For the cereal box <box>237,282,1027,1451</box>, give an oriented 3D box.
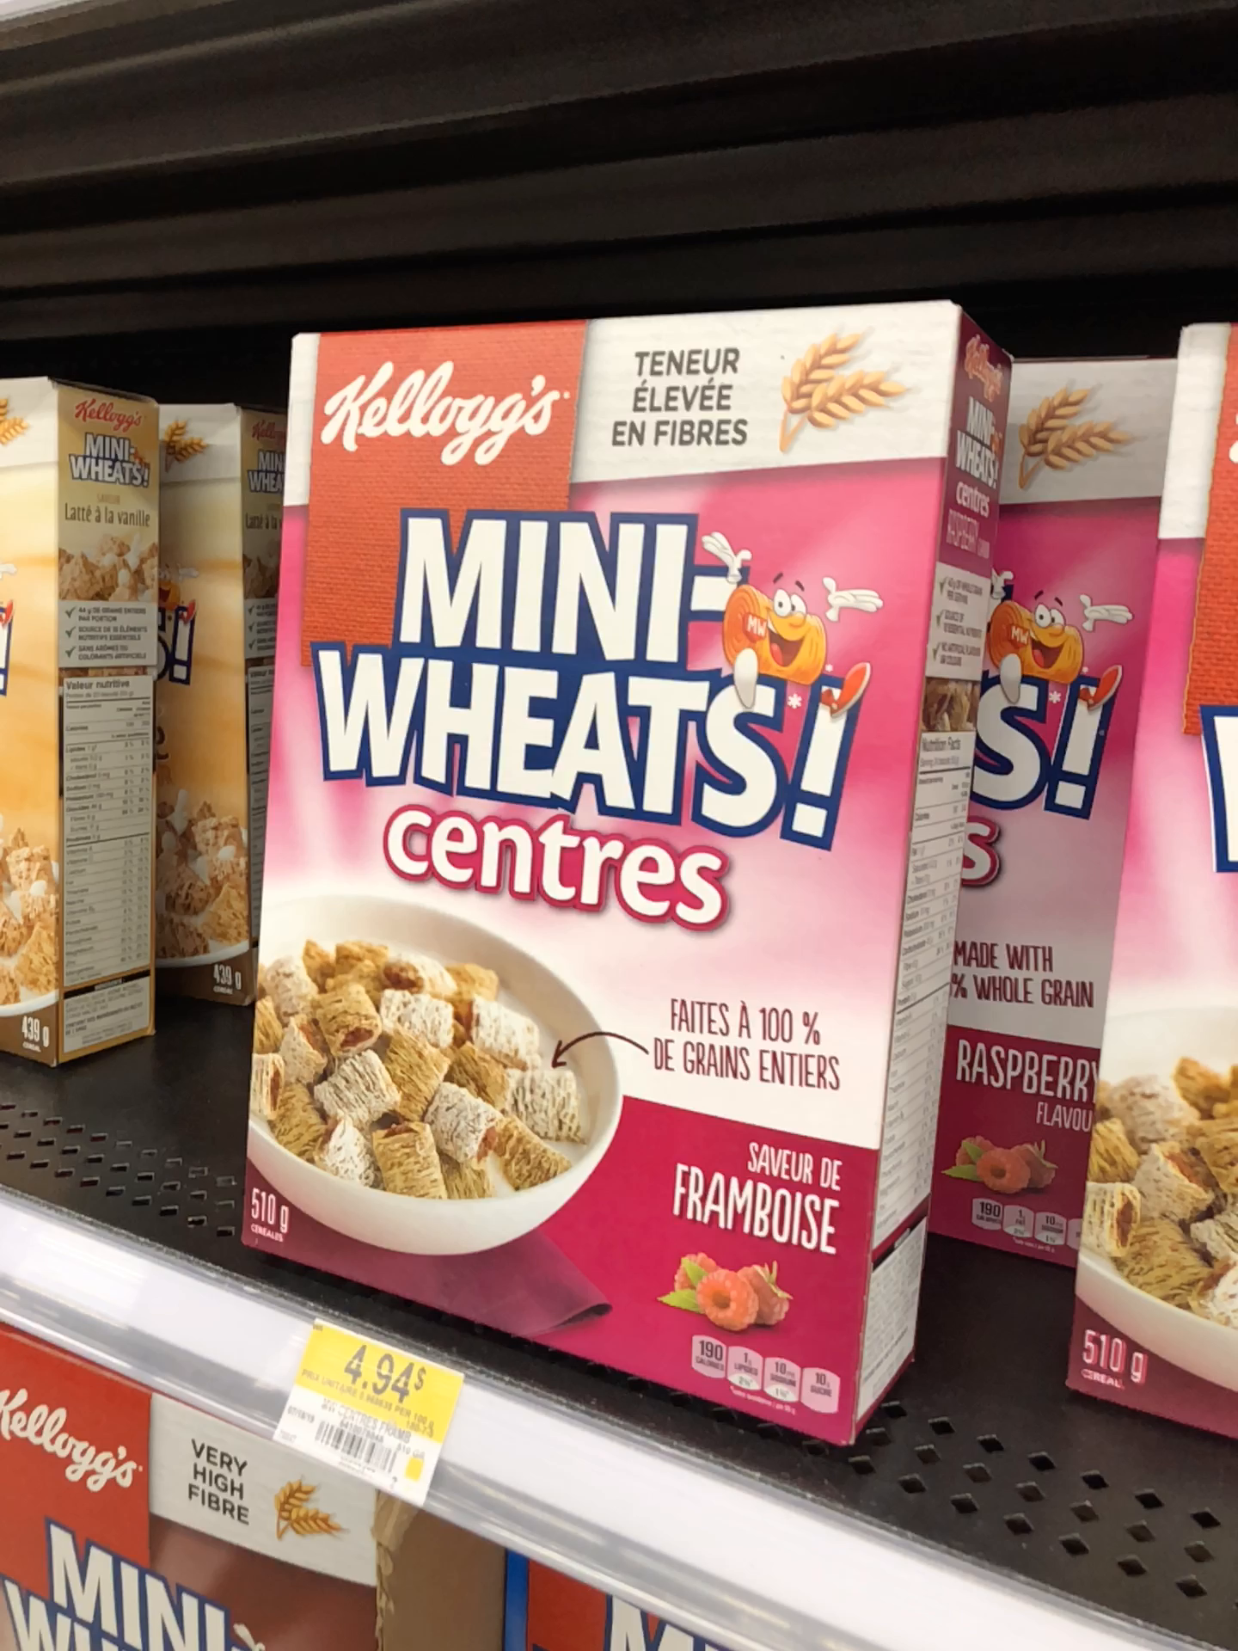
[{"bbox_3d":[-0.004,0.001,0.374,0.190,0.259,0.070,7,7,27],"label":"cereal box"}]
